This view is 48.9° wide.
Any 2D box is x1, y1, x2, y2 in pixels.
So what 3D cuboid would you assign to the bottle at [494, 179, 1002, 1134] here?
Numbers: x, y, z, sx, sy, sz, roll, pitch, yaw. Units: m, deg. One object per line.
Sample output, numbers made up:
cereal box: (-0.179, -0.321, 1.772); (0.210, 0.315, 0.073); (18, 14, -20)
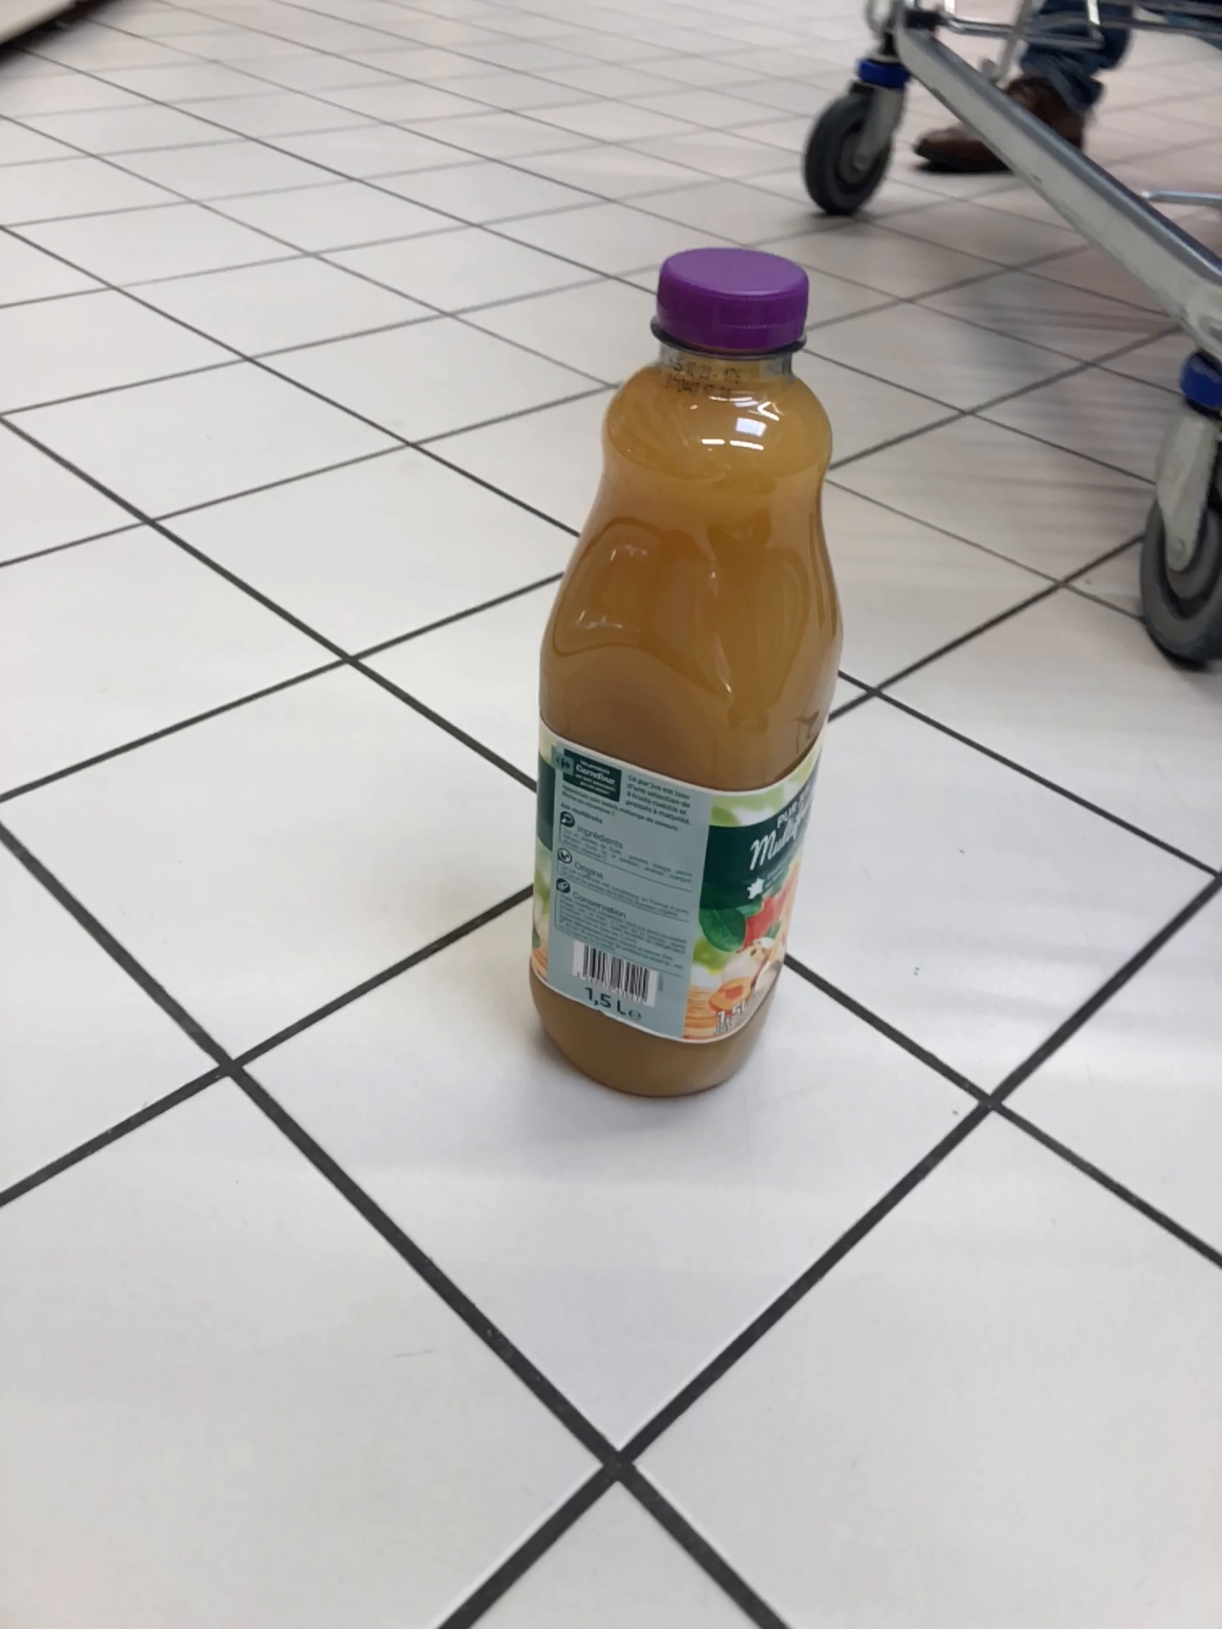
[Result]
bottle: (0.034, -0.042, 0.441); (0.100, 0.278, 0.101); (4, 36, -3)
